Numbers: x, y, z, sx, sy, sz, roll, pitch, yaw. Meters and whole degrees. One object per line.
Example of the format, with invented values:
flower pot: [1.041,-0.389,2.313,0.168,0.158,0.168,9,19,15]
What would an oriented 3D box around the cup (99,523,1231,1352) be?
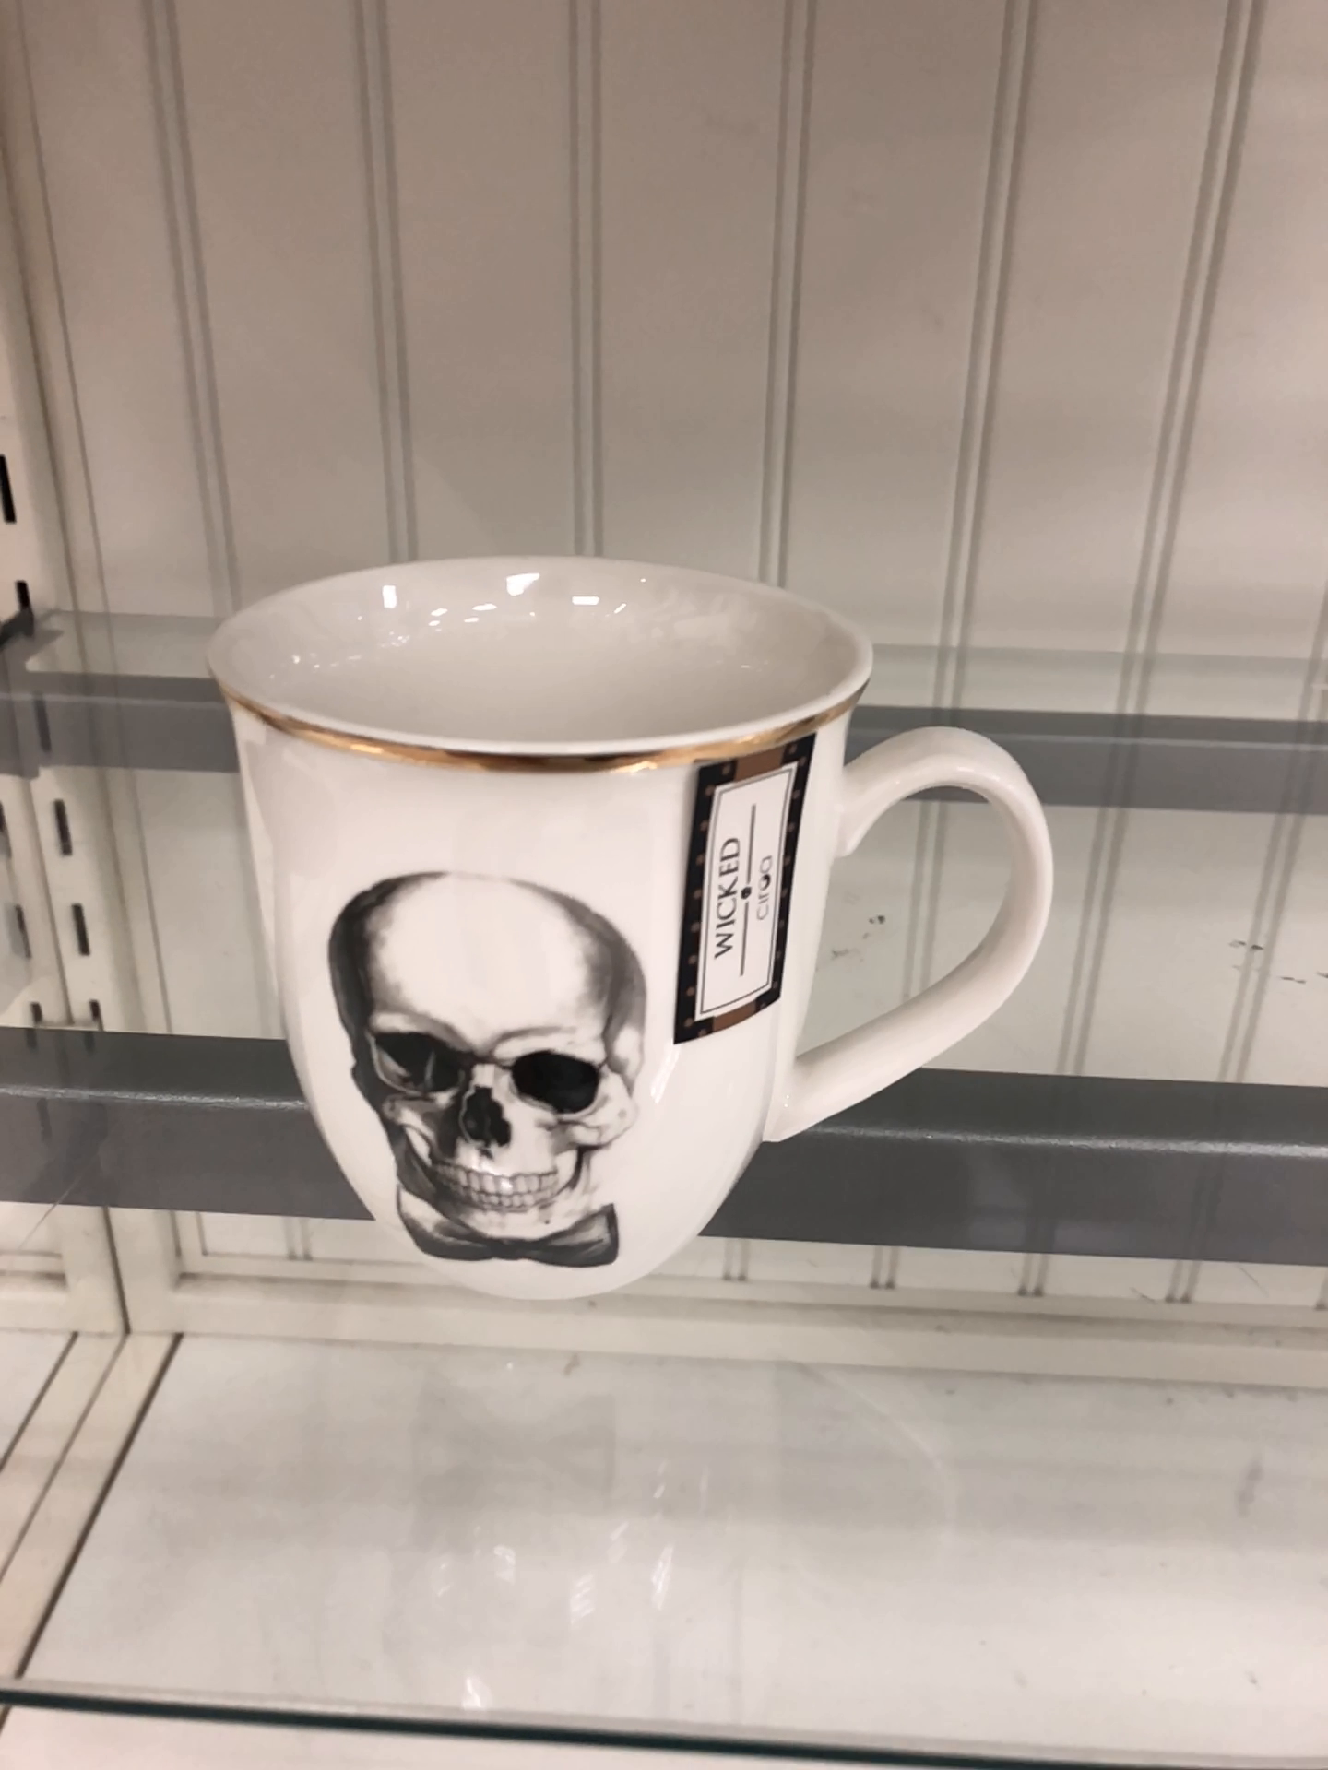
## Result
cup: [-0.004,-0.001,0.229,0.130,0.088,0.095,-2,26,-8]
